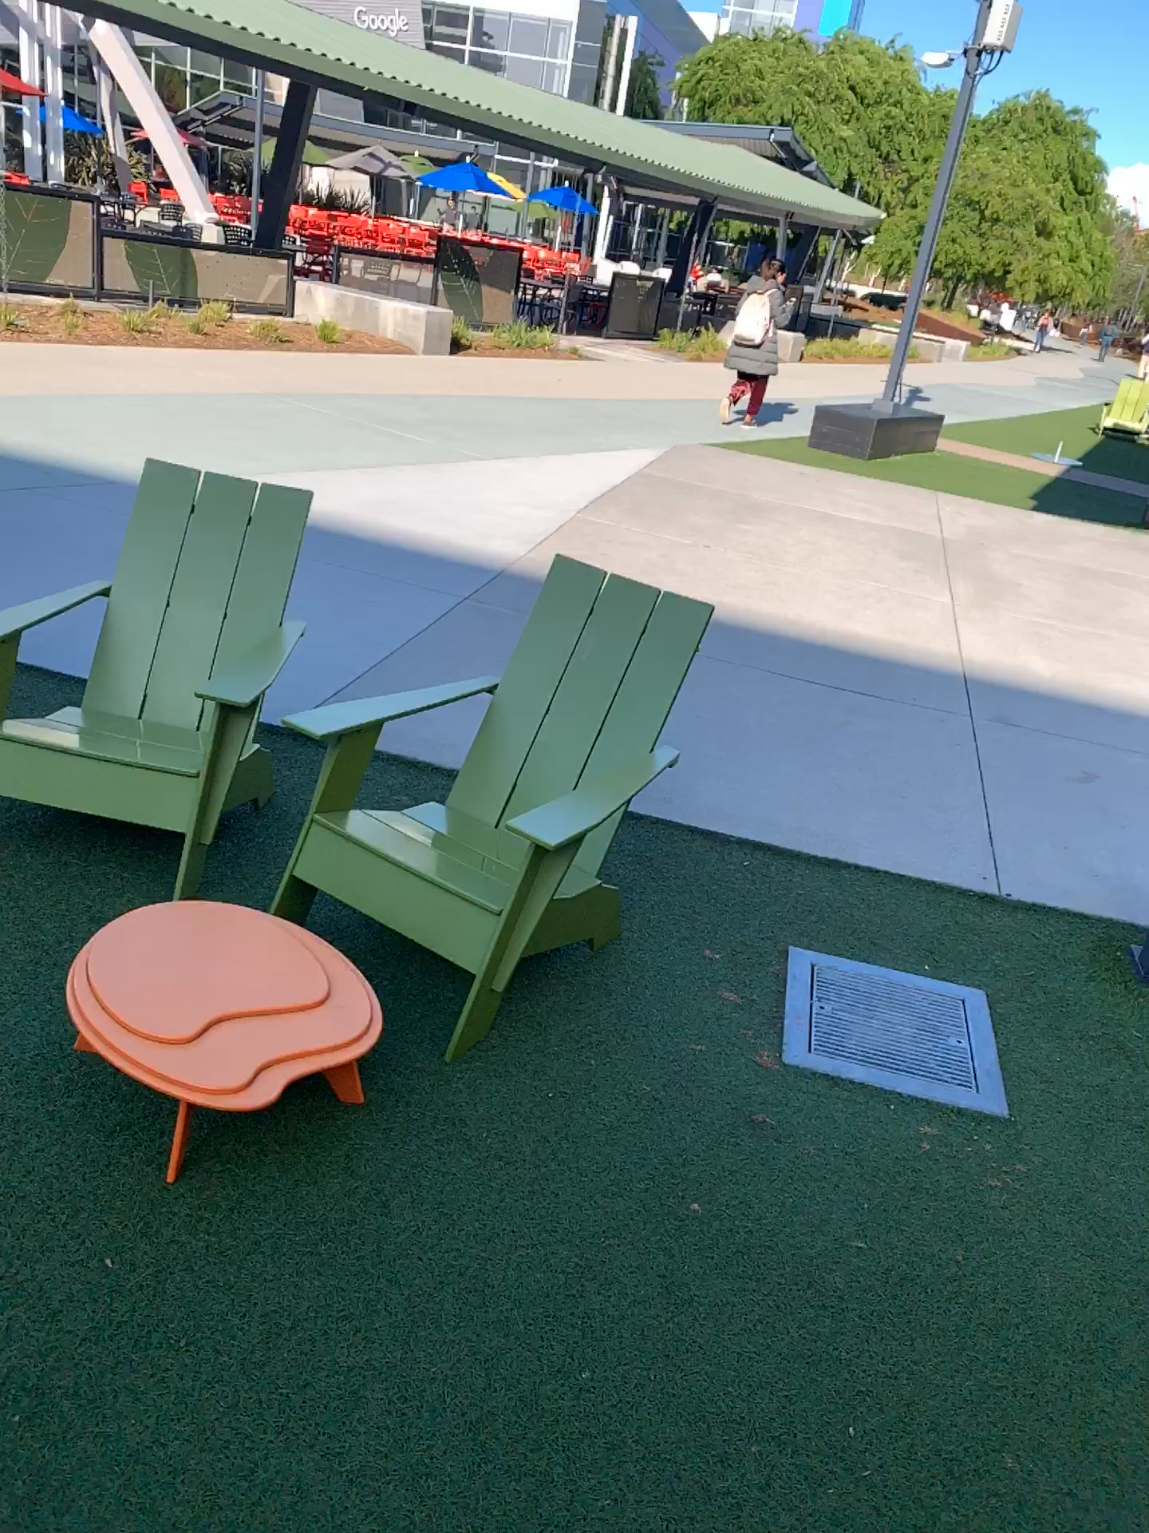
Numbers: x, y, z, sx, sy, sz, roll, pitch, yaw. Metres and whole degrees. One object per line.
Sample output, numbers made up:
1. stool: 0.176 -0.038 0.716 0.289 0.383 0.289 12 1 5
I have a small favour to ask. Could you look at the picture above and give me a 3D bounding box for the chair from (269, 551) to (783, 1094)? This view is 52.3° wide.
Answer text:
1. chair: -0.120 0.054 2.738 0.712 0.856 0.852 25 28 31
